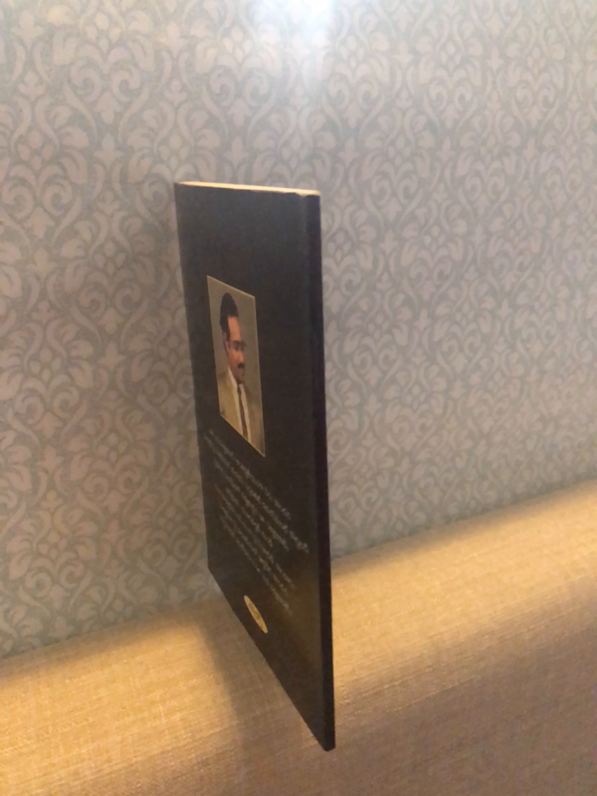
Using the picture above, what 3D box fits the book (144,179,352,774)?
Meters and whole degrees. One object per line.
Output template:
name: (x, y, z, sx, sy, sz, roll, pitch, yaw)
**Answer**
book: (-0.022, 0.016, 0.237, 0.011, 0.175, 0.127, -12, 20, -25)
